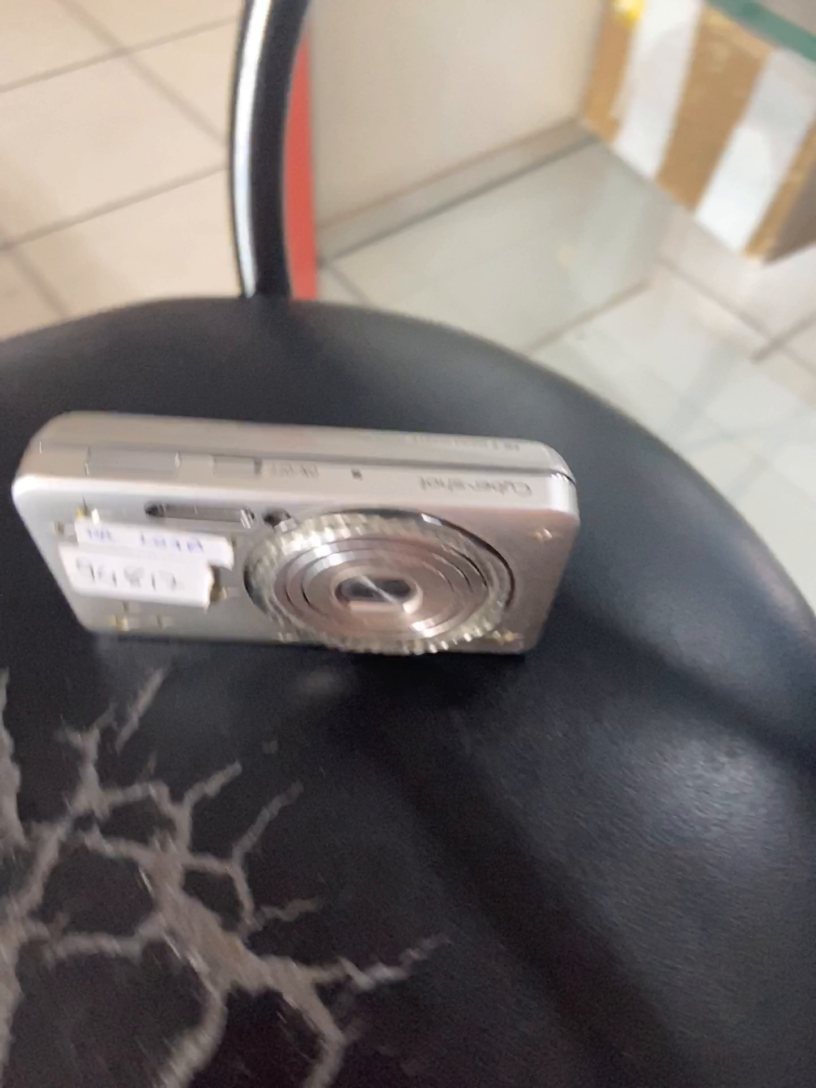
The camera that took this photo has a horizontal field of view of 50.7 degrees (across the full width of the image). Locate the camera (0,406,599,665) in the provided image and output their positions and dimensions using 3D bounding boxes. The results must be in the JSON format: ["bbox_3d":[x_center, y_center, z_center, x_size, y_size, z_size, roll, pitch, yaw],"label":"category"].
[{"bbox_3d":[-0.018,0.001,0.156,0.092,0.042,0.022,3,56,-3],"label":"camera"}]
